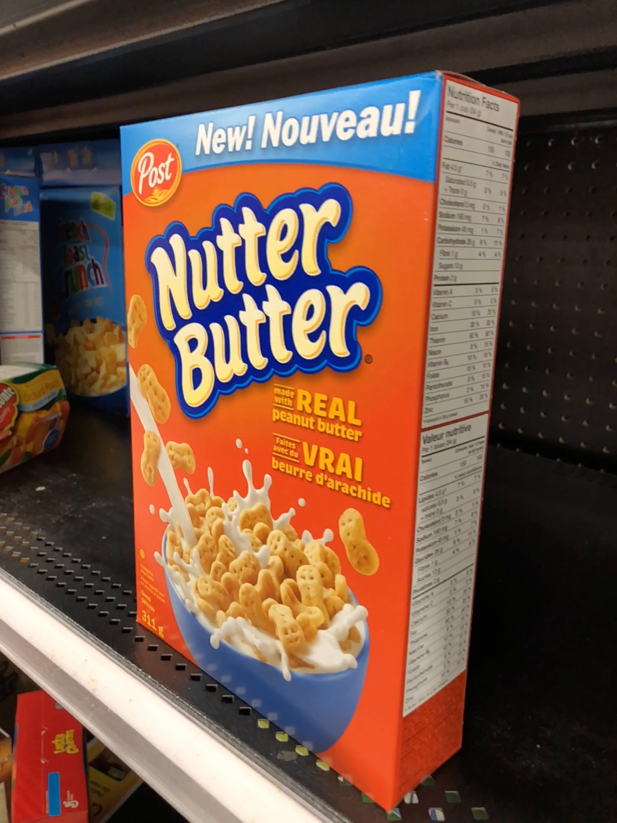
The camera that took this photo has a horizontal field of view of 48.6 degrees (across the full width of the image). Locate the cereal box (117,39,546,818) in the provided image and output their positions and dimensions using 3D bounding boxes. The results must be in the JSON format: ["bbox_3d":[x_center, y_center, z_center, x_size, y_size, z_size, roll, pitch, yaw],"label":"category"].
[{"bbox_3d":[-0.010,0.000,0.327,0.060,0.279,0.201,-10,18,-43],"label":"cereal box"}]
